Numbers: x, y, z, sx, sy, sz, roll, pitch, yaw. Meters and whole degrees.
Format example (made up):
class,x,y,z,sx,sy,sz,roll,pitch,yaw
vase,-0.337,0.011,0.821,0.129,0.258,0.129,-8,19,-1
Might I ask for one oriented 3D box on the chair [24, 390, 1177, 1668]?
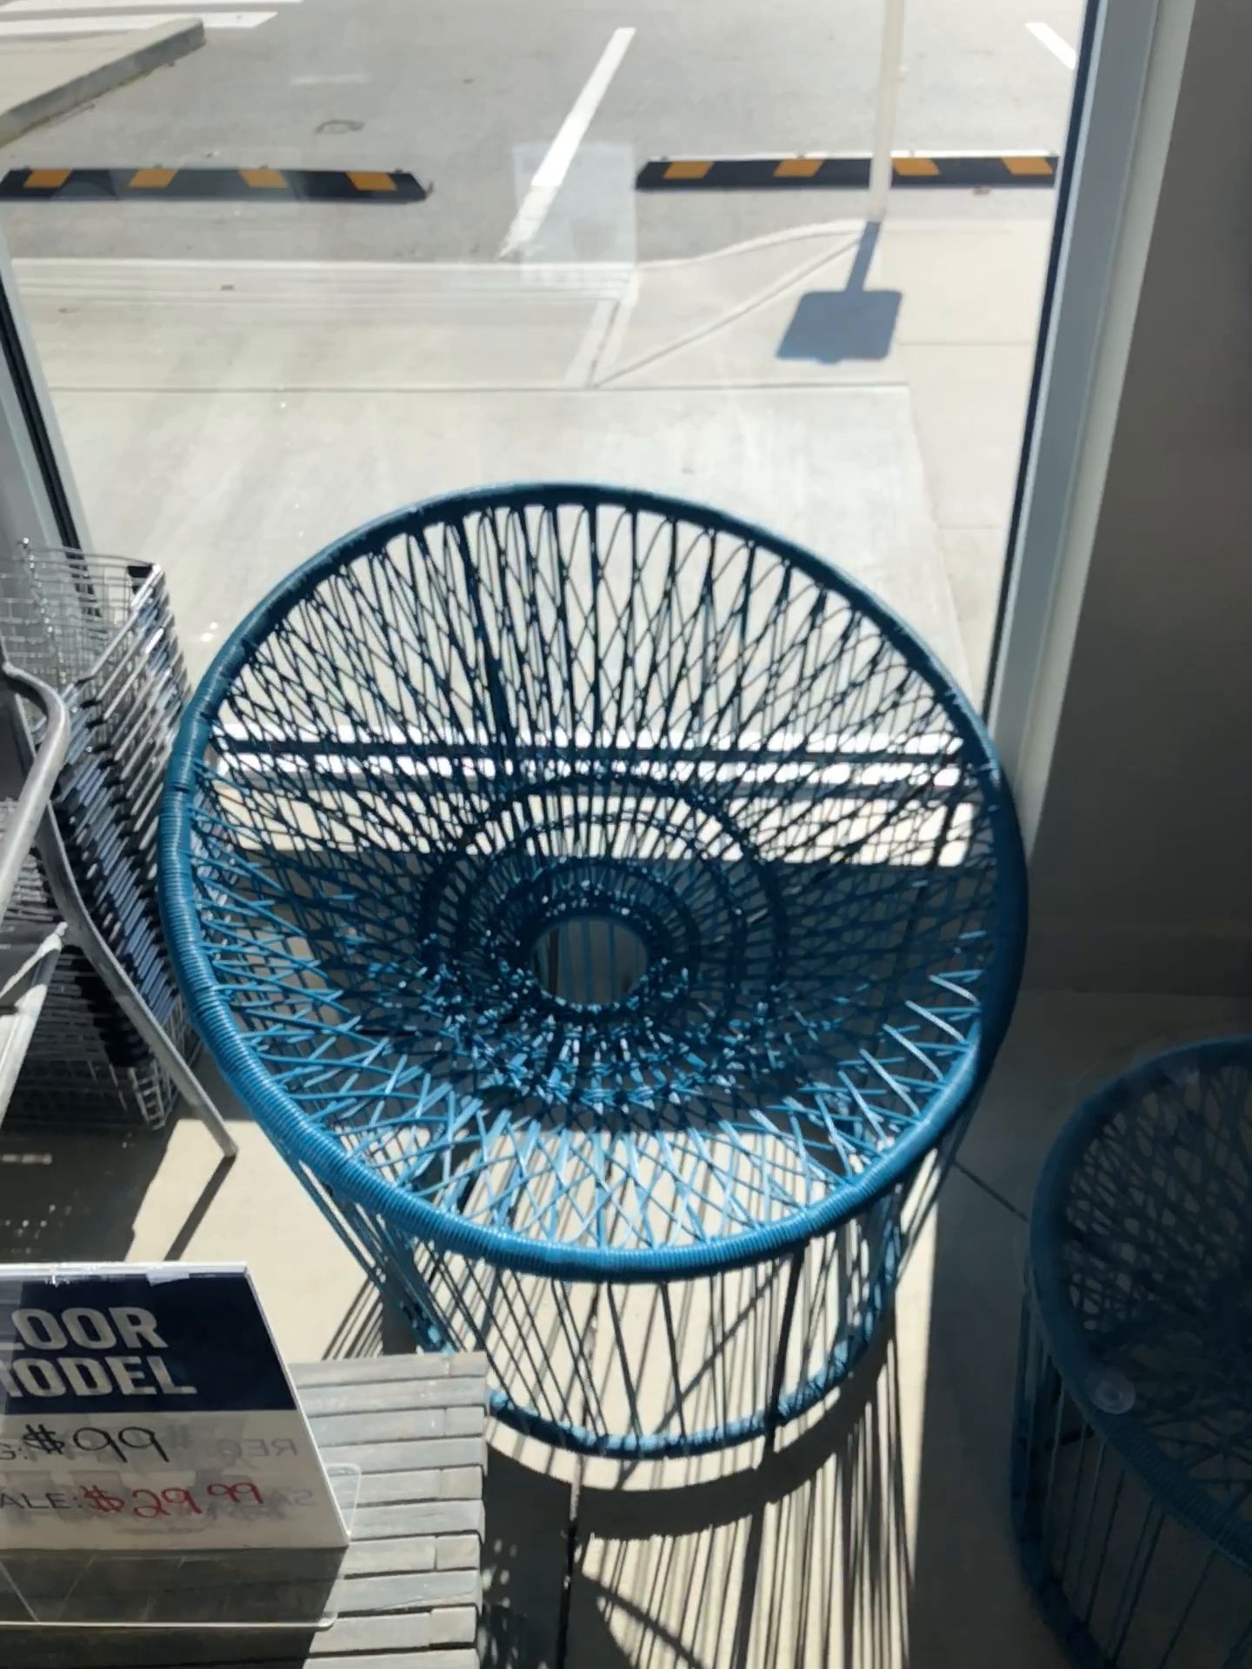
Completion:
class,x,y,z,sx,sy,sz,roll,pitch,yaw
chair,-0.046,0.200,1.433,0.721,0.993,0.664,-20,41,-22
